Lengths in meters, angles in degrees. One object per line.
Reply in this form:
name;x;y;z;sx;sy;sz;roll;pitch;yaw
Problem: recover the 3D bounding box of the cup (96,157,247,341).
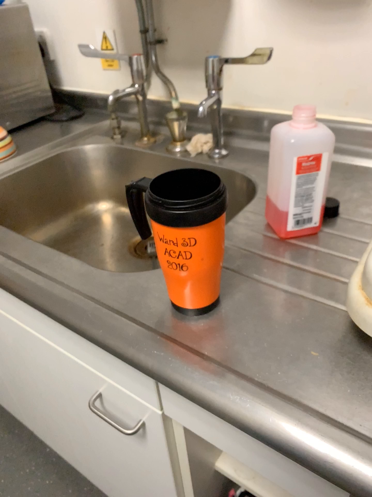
cup;-0.010;-0.003;0.455;0.135;0.164;0.090;17;40;29
